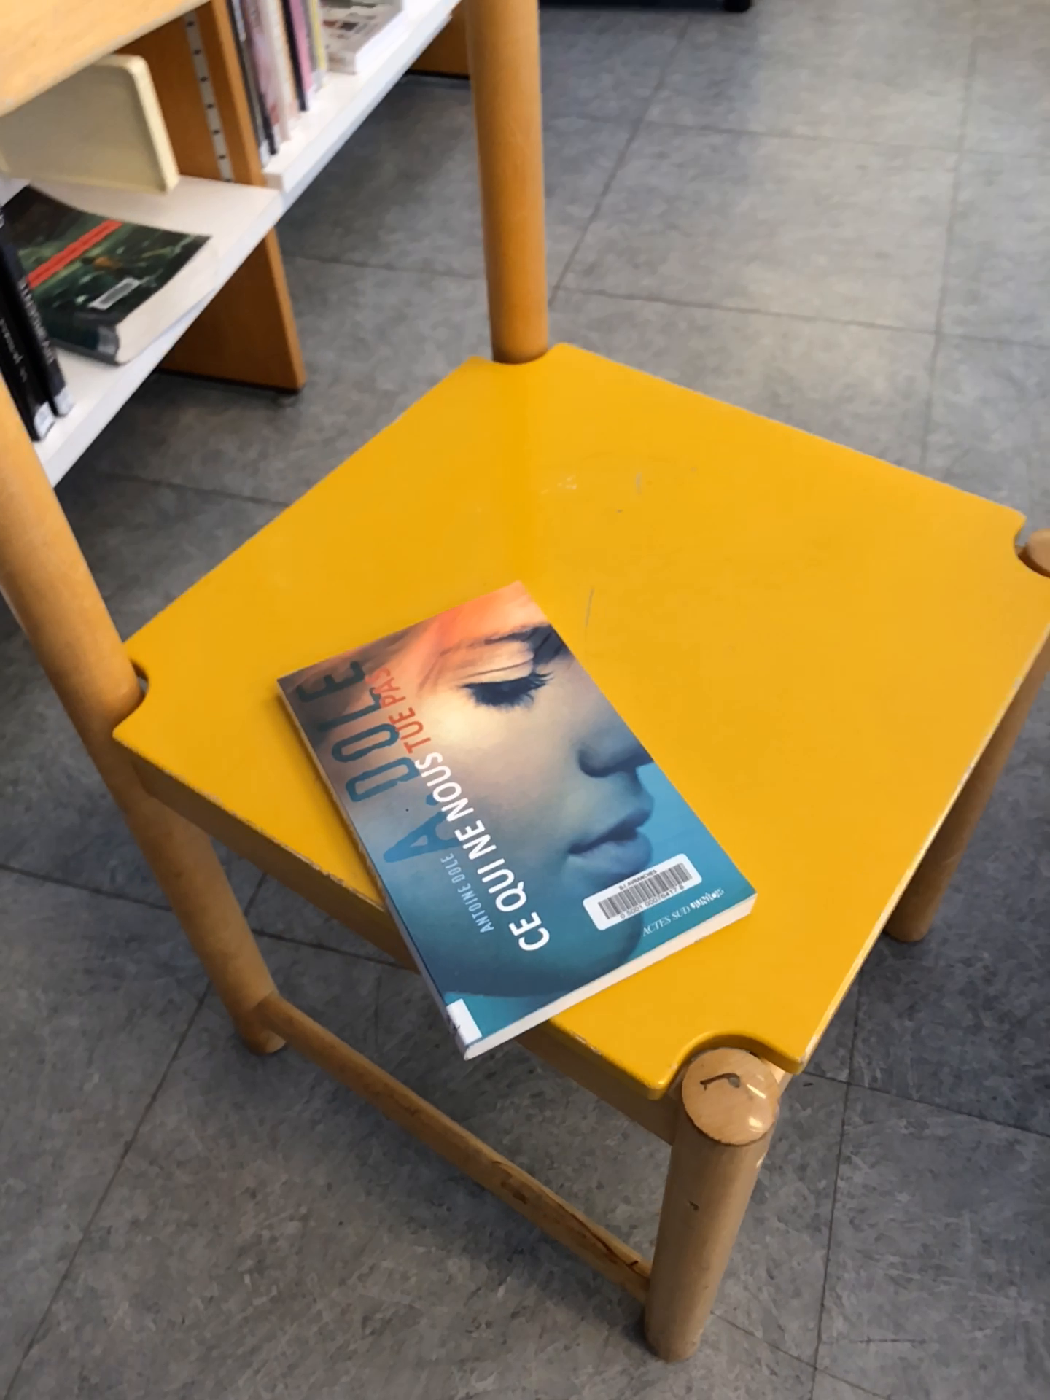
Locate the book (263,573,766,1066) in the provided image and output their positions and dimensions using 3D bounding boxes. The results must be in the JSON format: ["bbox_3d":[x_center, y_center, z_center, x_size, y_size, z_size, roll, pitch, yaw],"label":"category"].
[{"bbox_3d":[-0.013,0.037,0.517,0.140,0.016,0.213,-23,53,-16],"label":"book"}]
